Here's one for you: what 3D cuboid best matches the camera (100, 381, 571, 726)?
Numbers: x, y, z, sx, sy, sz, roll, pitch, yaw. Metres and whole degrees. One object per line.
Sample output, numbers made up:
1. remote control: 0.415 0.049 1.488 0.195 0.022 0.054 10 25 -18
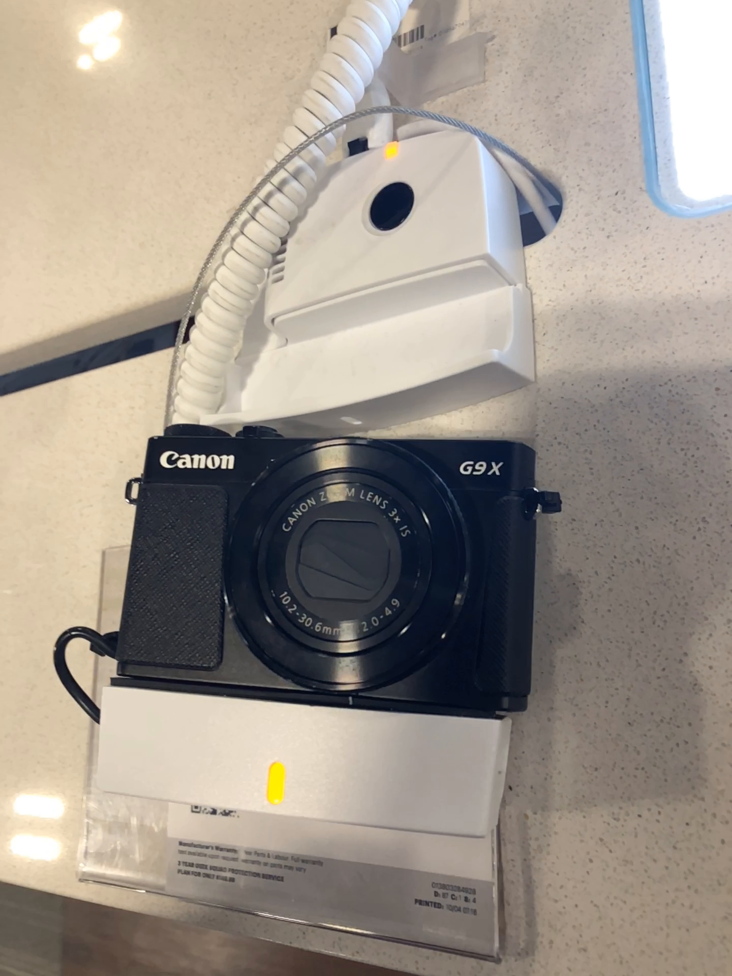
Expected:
1. camera: -0.006 0.013 0.185 0.100 0.020 0.070 1 77 14
